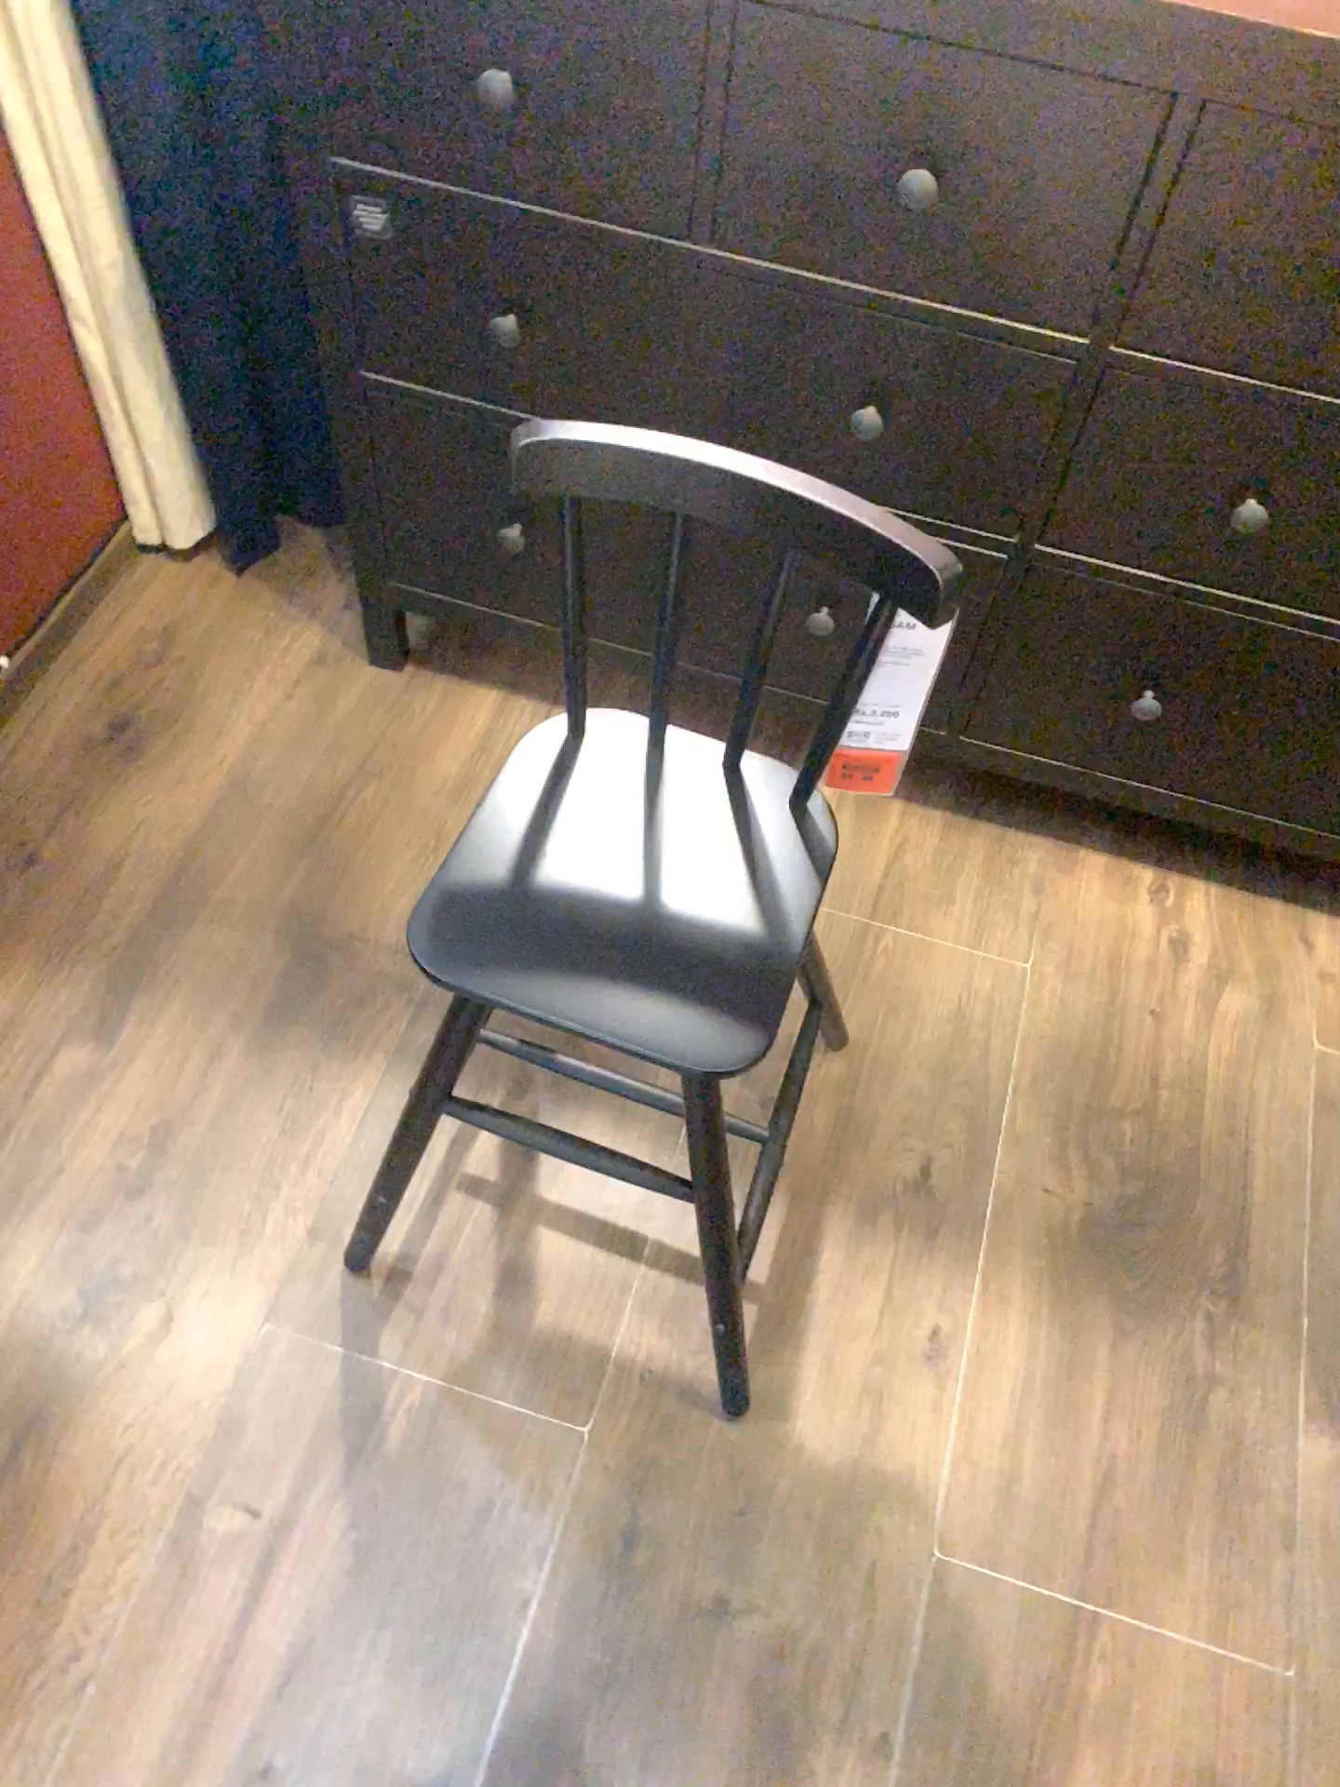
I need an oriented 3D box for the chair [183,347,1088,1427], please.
[{"bbox_3d":[-0.019,0.072,1.226,0.450,0.848,0.471,18,57,7],"label":"chair"}]
